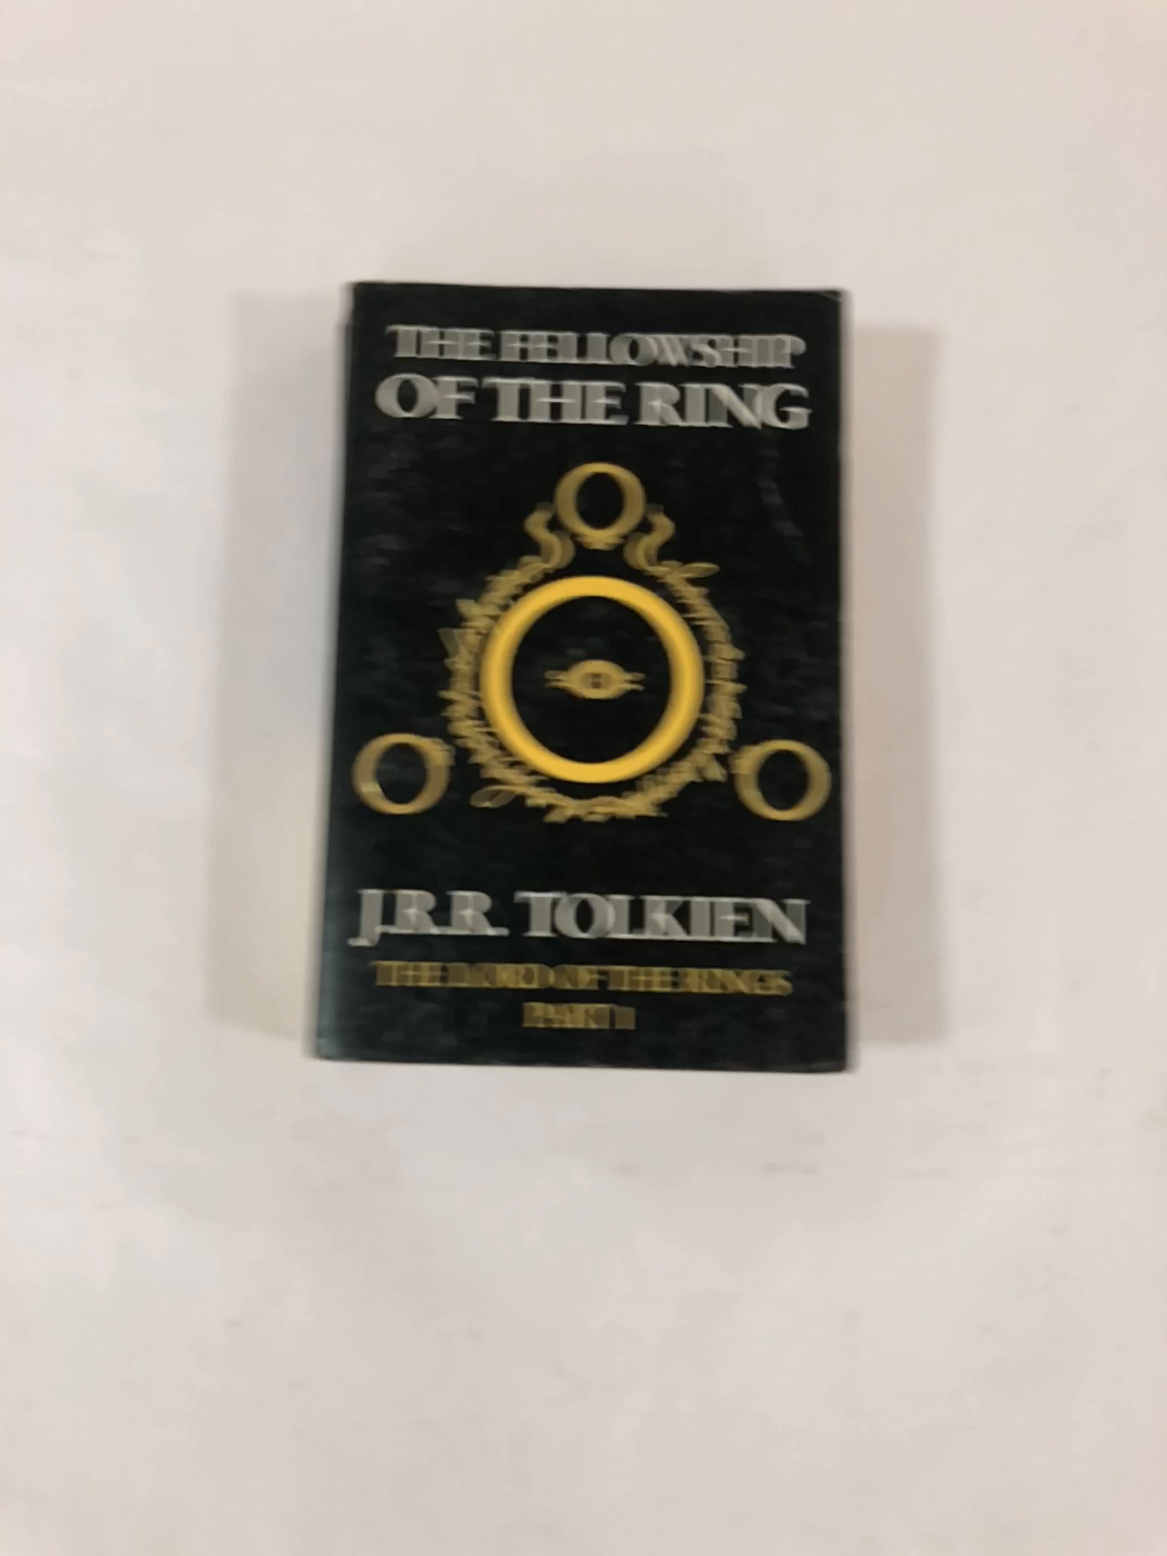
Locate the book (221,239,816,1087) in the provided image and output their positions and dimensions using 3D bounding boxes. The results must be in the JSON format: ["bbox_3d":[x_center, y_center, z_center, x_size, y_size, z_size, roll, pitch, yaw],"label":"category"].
[{"bbox_3d":[-0.010,-0.029,0.329,0.130,0.050,0.200,1,80,5],"label":"book"}]
